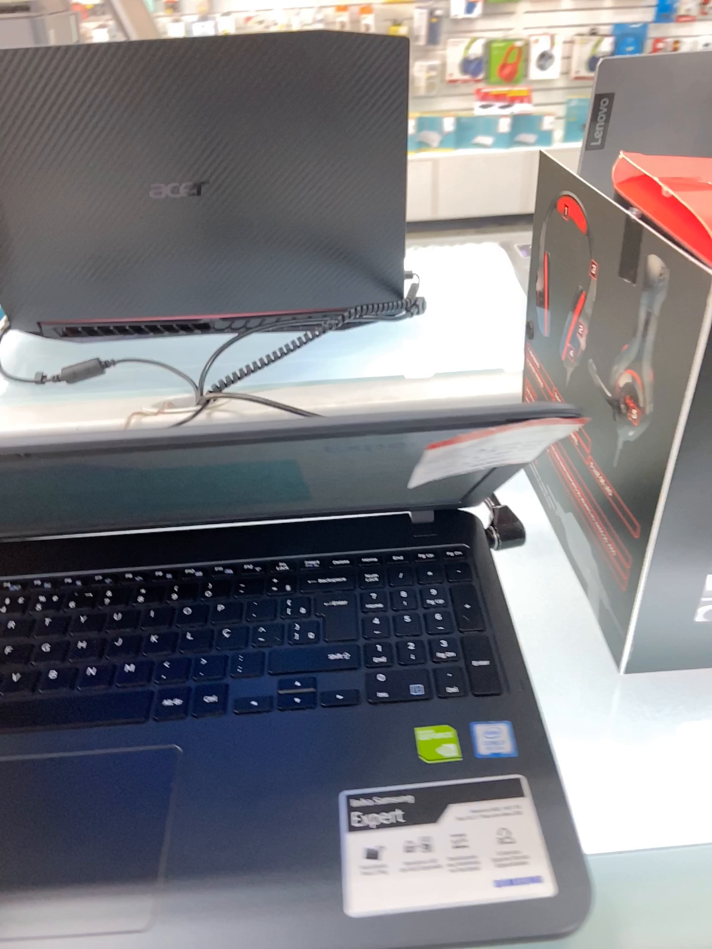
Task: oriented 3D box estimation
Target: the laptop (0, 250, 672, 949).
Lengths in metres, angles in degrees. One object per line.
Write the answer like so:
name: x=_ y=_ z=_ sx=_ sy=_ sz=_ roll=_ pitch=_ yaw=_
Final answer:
laptop: x=-0.110 y=0.038 z=0.319 sx=0.371 sy=0.170 sz=0.238 roll=-4 pitch=35 yaw=0
